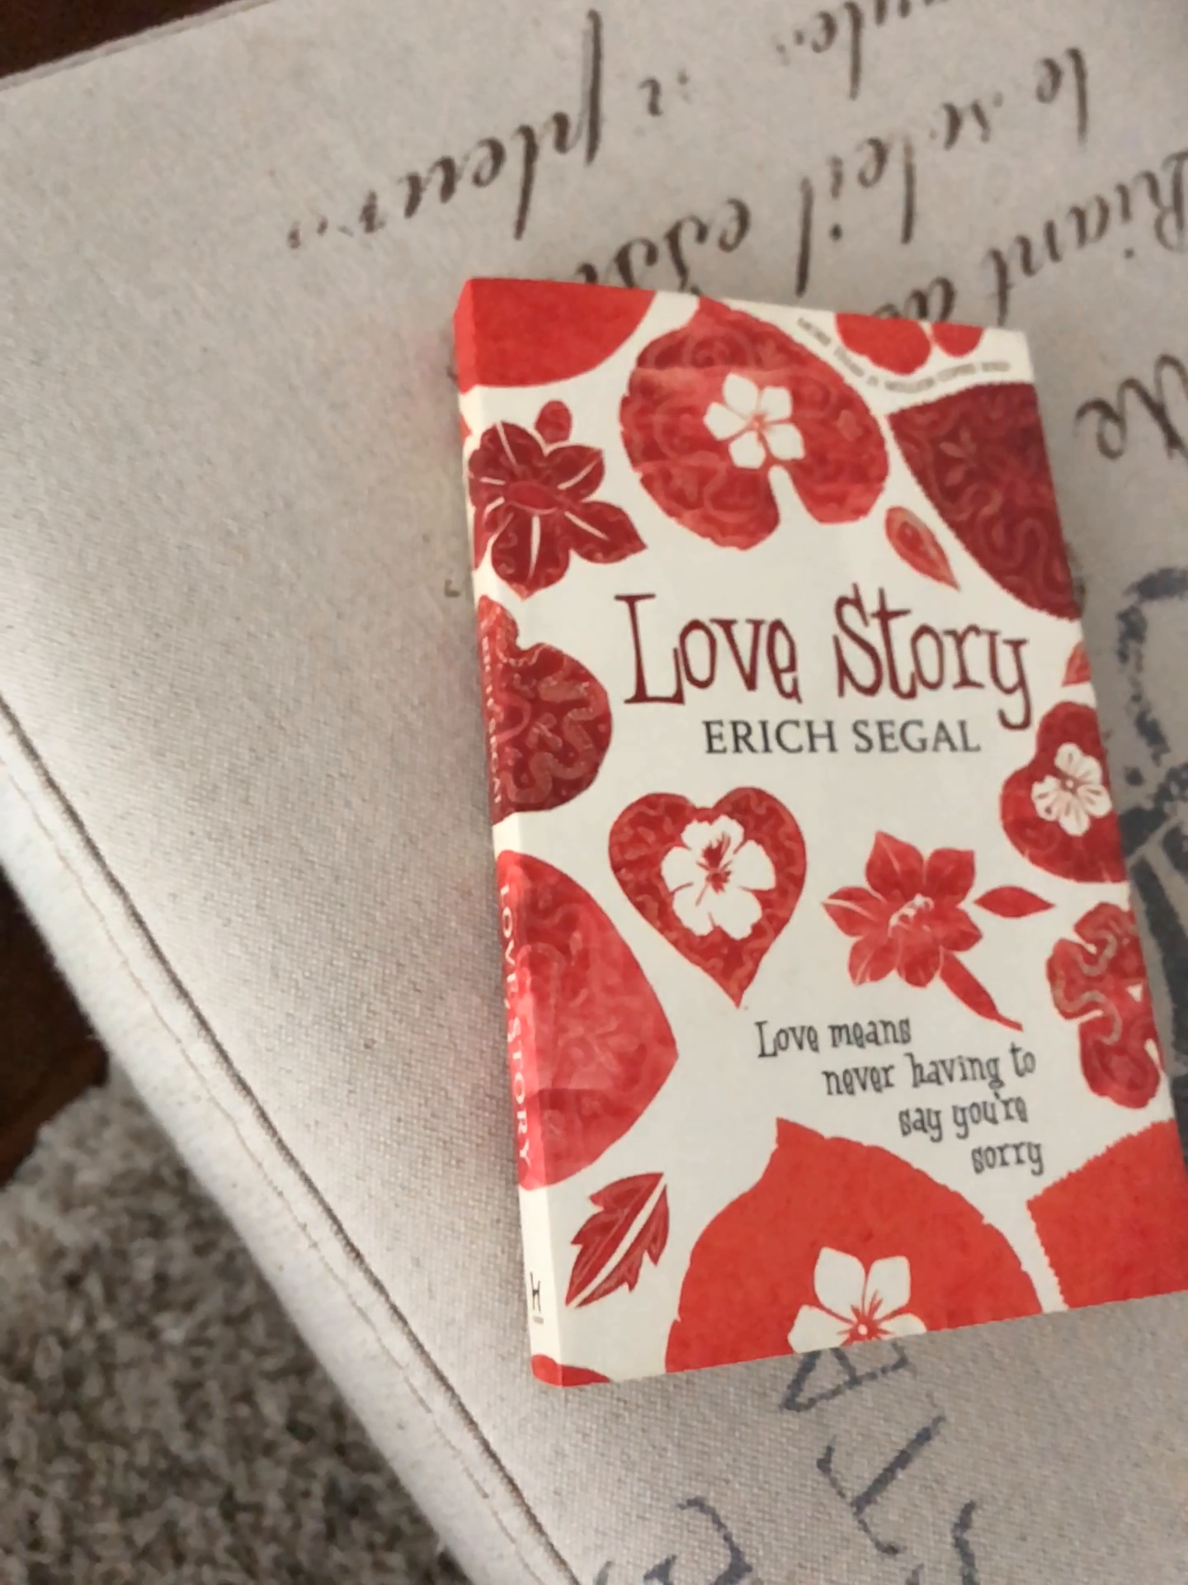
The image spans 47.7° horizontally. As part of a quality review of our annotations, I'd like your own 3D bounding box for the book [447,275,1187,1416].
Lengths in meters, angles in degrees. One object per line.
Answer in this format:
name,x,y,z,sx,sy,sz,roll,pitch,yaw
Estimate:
book,0.041,0.000,0.244,0.120,0.020,0.188,-1,75,-19
